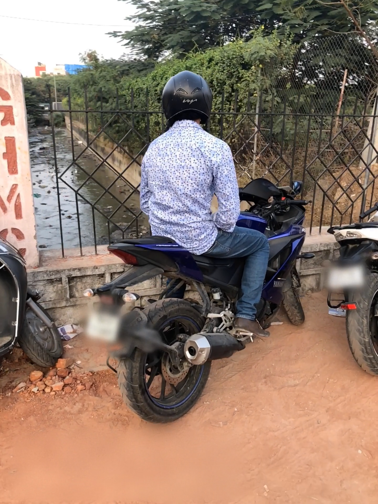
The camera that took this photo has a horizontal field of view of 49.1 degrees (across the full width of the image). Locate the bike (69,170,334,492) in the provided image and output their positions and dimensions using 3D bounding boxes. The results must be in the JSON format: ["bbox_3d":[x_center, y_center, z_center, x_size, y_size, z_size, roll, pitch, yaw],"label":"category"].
[{"bbox_3d":[0.258,0.169,2.576,0.731,0.995,1.953,11,23,28],"label":"bike"}]
